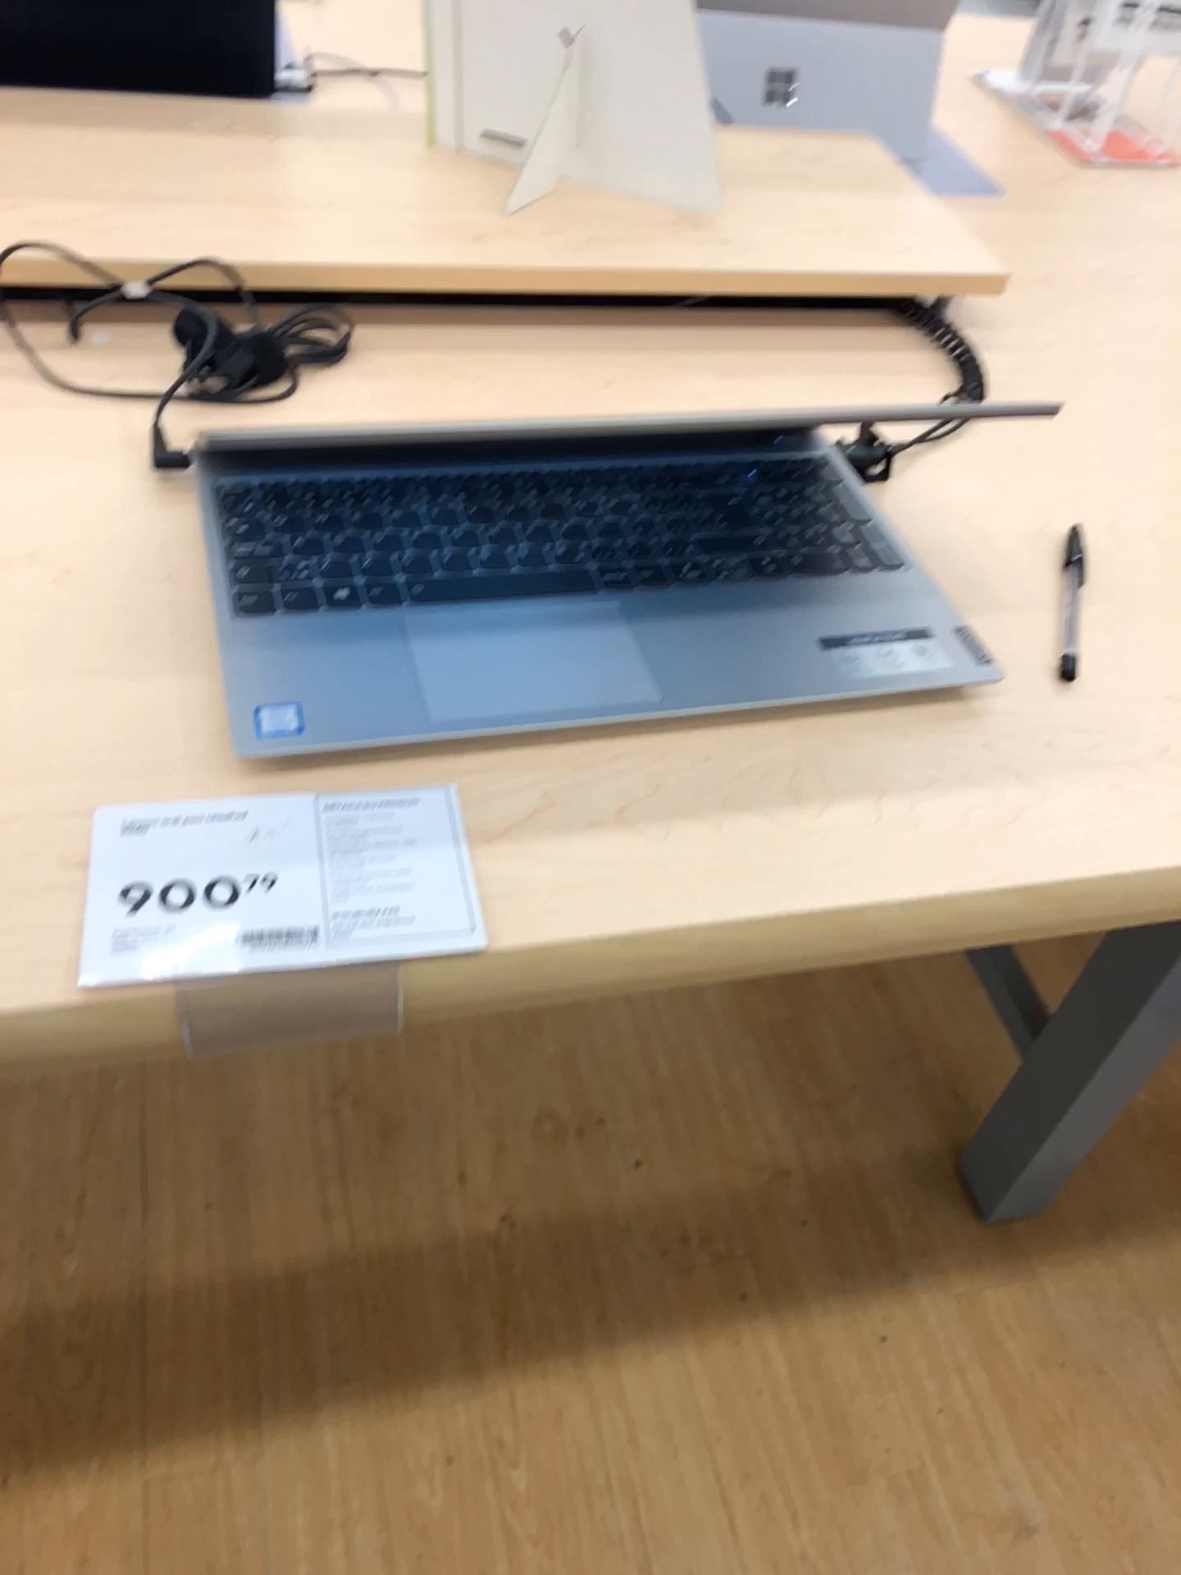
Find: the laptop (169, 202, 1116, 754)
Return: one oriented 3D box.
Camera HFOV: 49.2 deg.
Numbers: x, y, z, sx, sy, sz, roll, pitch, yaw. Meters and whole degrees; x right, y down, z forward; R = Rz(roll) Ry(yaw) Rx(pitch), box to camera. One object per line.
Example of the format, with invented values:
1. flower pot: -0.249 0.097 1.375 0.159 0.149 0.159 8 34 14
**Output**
1. laptop: 0.004 -0.157 0.593 0.351 0.122 0.234 -7 47 -16
